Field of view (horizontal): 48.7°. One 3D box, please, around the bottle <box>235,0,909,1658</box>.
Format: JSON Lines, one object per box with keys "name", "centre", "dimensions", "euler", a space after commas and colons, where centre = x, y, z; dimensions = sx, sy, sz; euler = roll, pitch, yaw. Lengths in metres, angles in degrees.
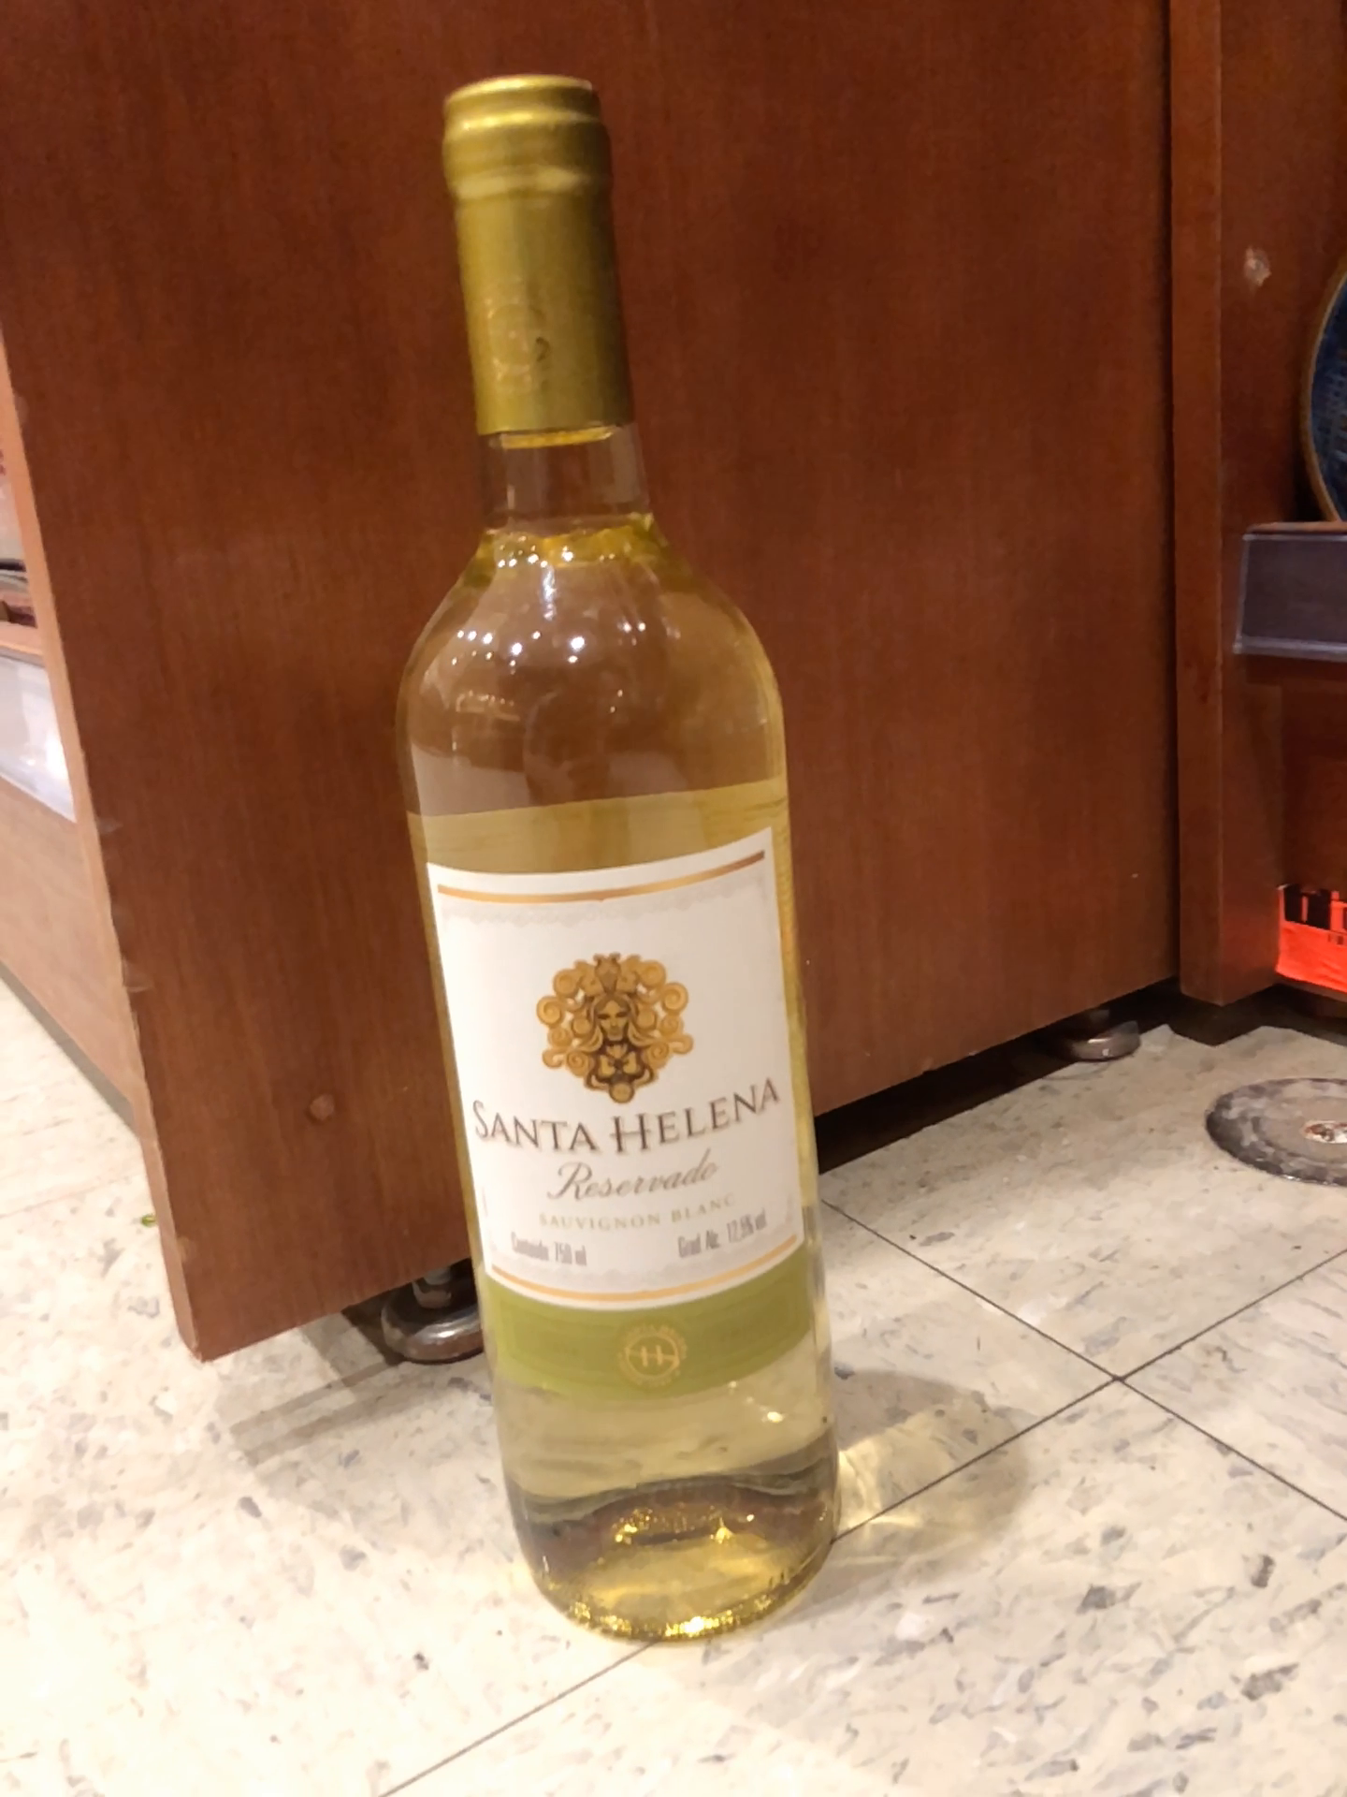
{"name": "bottle", "centre": [-0.008, 0.000, 0.280], "dimensions": [0.080, 0.279, 0.070], "euler": [-5, 16, 3]}
